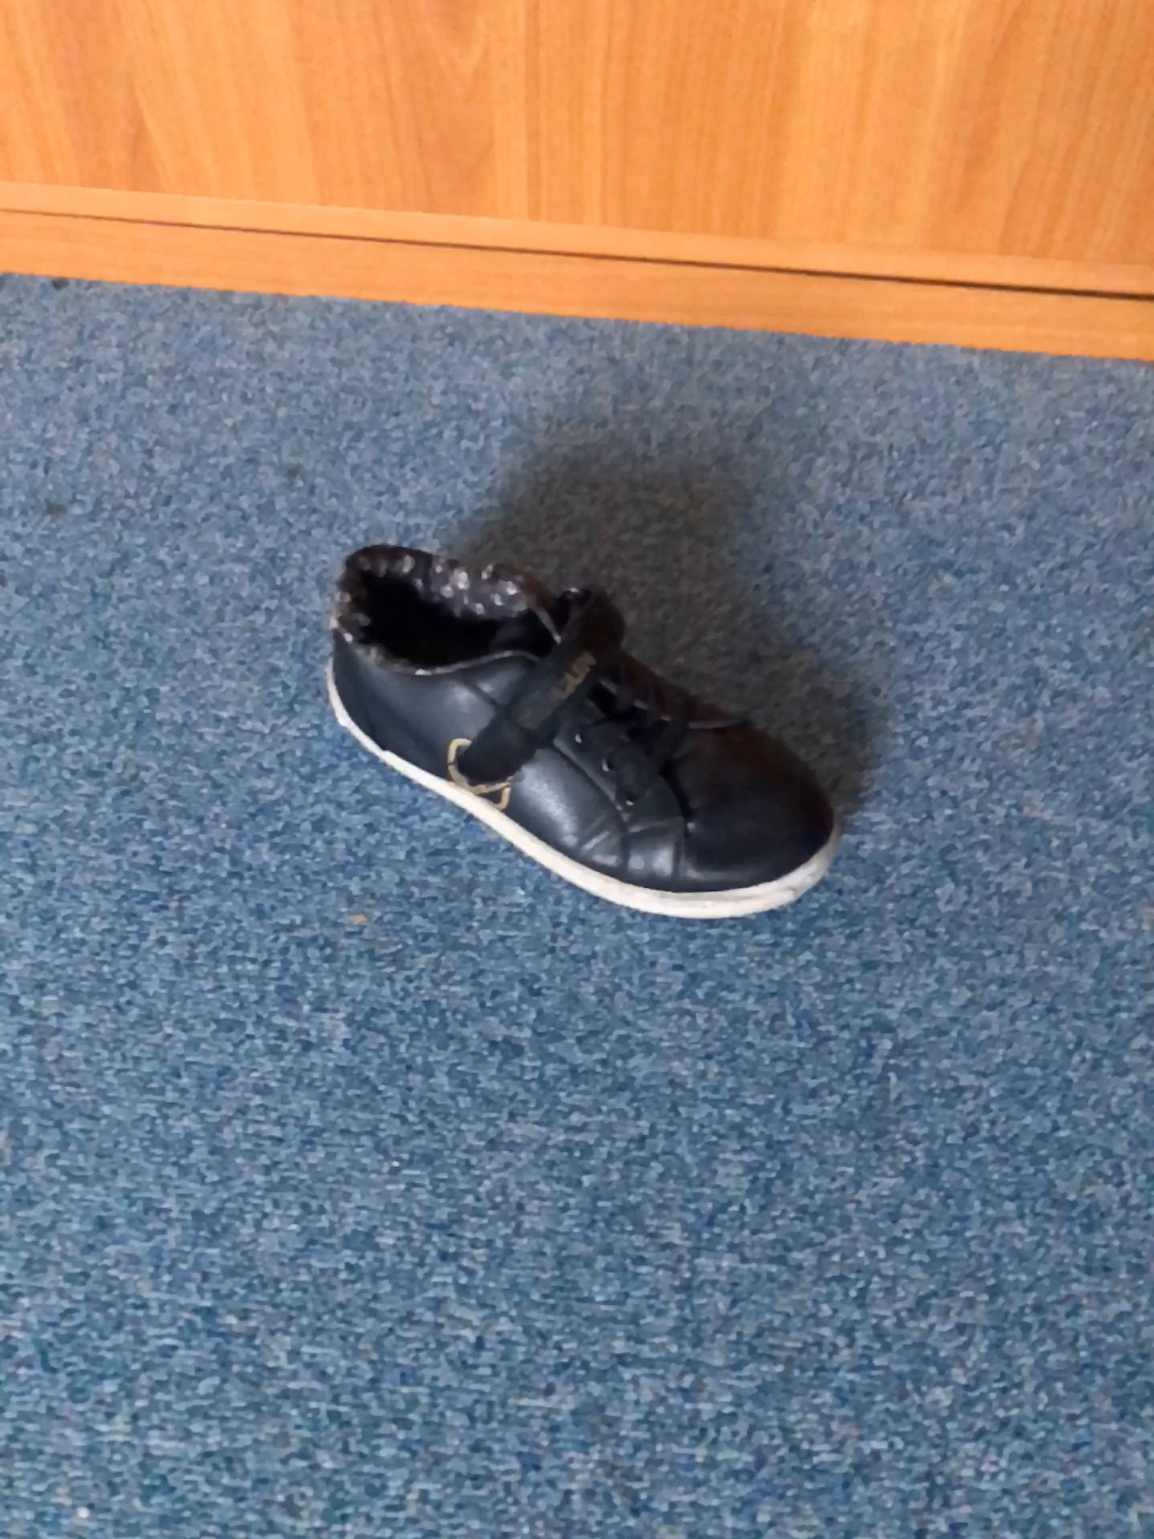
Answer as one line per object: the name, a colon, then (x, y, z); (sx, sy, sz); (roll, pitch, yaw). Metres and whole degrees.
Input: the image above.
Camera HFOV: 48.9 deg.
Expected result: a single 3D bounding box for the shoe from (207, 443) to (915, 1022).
shoe: (-0.008, -0.020, 0.491); (0.230, 0.090, 0.111); (26, 57, 17)
